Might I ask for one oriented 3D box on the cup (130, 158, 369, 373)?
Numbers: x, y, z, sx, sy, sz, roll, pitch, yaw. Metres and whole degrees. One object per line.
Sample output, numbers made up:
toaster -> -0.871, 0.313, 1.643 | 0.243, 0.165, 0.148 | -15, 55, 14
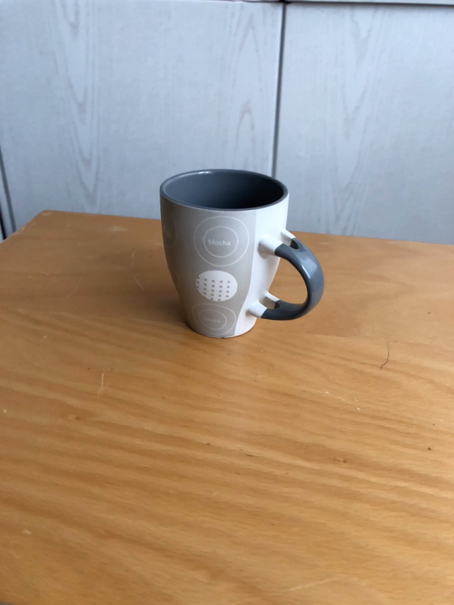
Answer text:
cup -> 0.014, -0.033, 0.340 | 0.127, 0.093, 0.085 | 18, 34, 26
